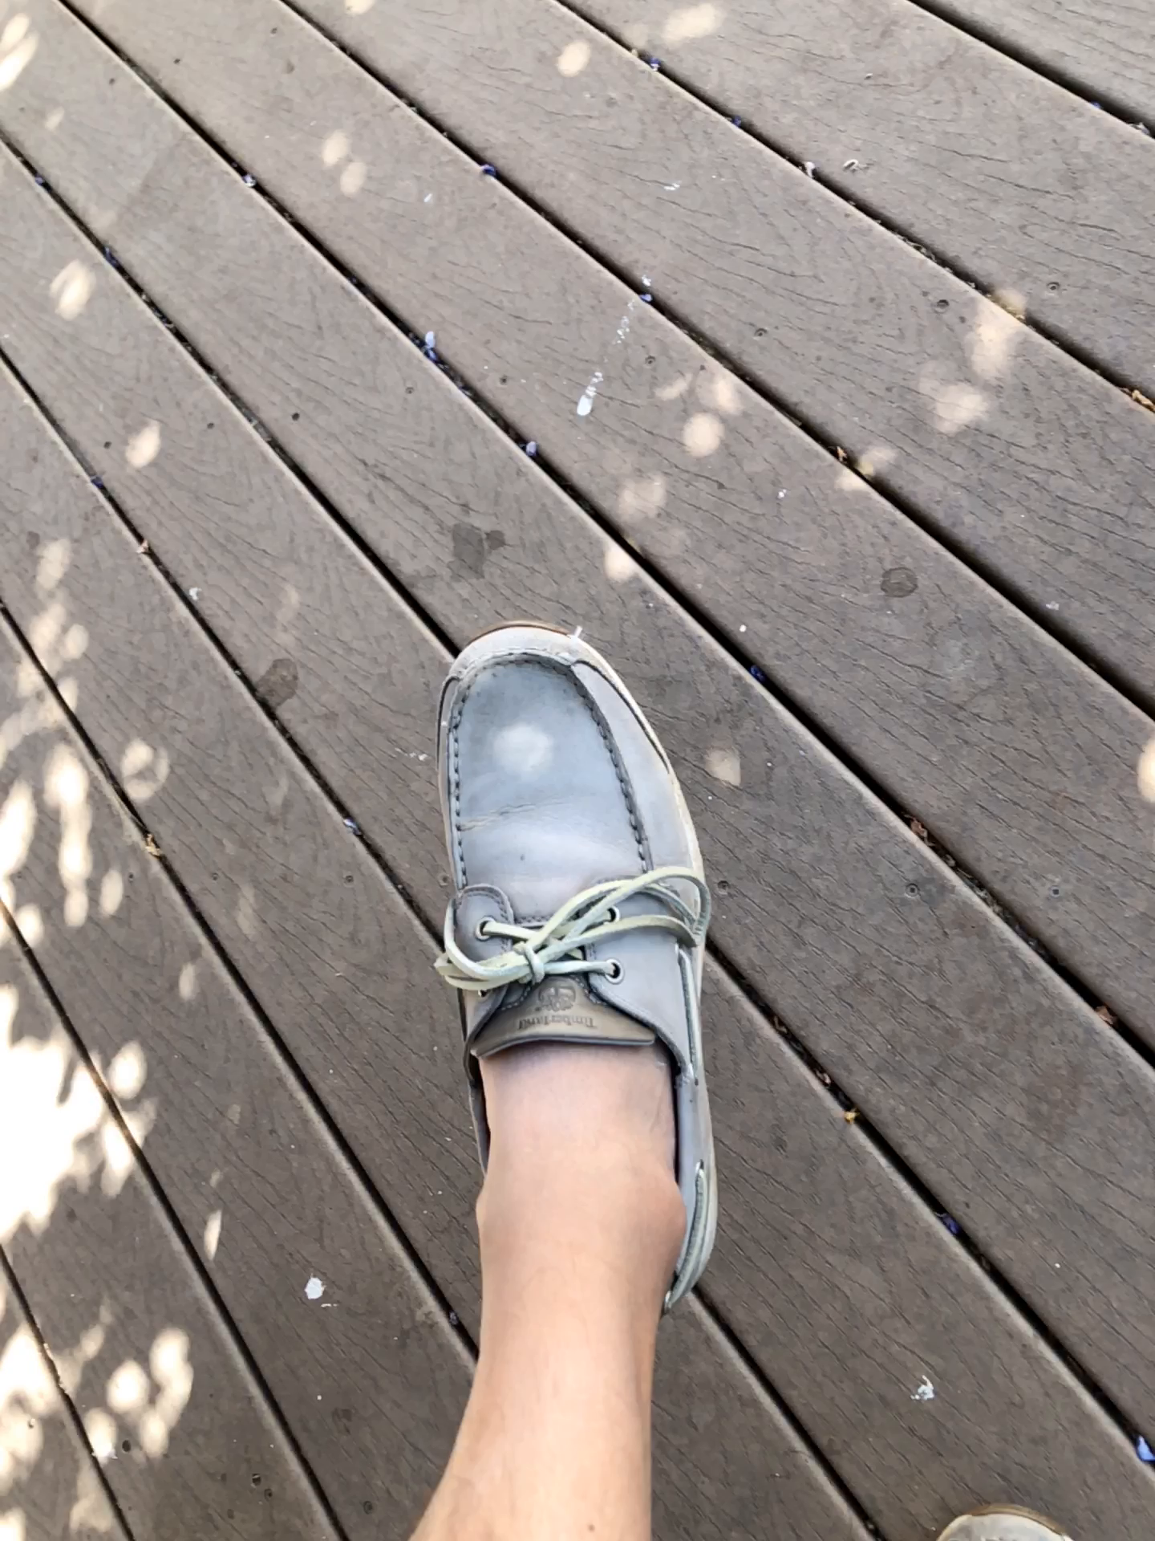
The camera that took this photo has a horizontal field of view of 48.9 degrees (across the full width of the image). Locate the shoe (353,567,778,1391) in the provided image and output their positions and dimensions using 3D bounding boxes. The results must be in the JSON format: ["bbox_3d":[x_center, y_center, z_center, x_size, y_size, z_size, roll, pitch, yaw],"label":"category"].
[{"bbox_3d":[-0.005,0.084,0.534,0.115,0.085,0.306,-10,83,22],"label":"shoe"}]
